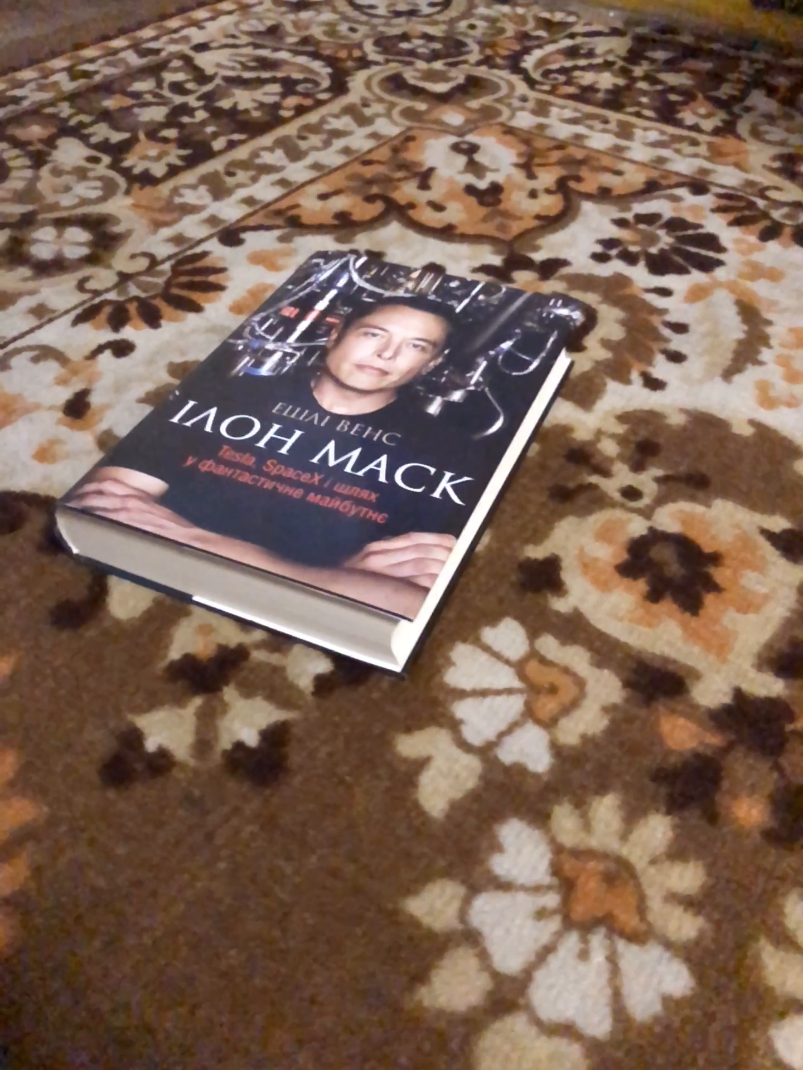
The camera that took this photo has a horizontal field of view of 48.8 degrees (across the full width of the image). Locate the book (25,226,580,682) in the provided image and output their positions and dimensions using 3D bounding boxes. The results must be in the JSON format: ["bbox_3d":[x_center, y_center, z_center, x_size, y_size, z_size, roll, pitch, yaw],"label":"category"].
[{"bbox_3d":[-0.032,-0.065,0.462,0.184,0.050,0.251,17,49,16],"label":"book"}]
